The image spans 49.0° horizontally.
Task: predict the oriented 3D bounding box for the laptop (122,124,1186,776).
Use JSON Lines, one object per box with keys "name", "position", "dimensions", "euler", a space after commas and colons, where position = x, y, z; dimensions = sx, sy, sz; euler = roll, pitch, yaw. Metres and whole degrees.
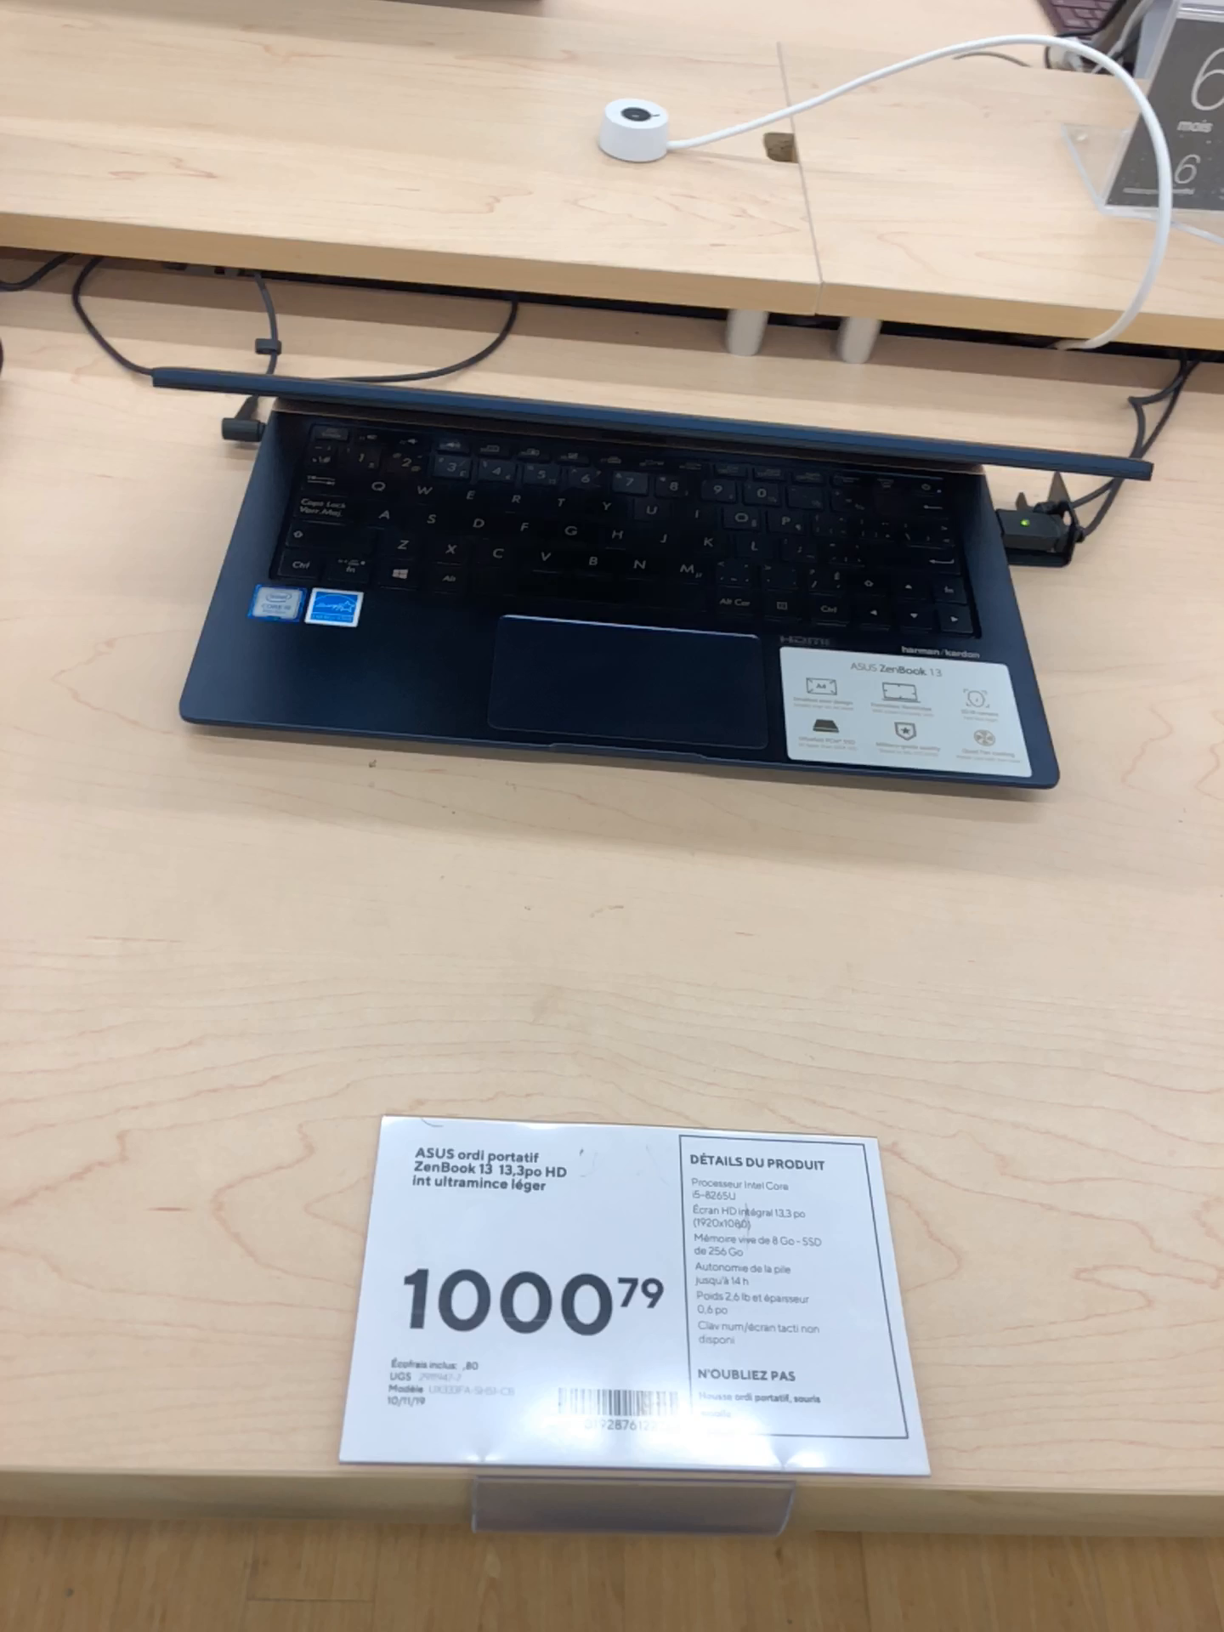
{"name": "laptop", "position": [0.012, -0.134, 0.480], "dimensions": [0.299, 0.107, 0.197], "euler": [4, 50, -4]}
